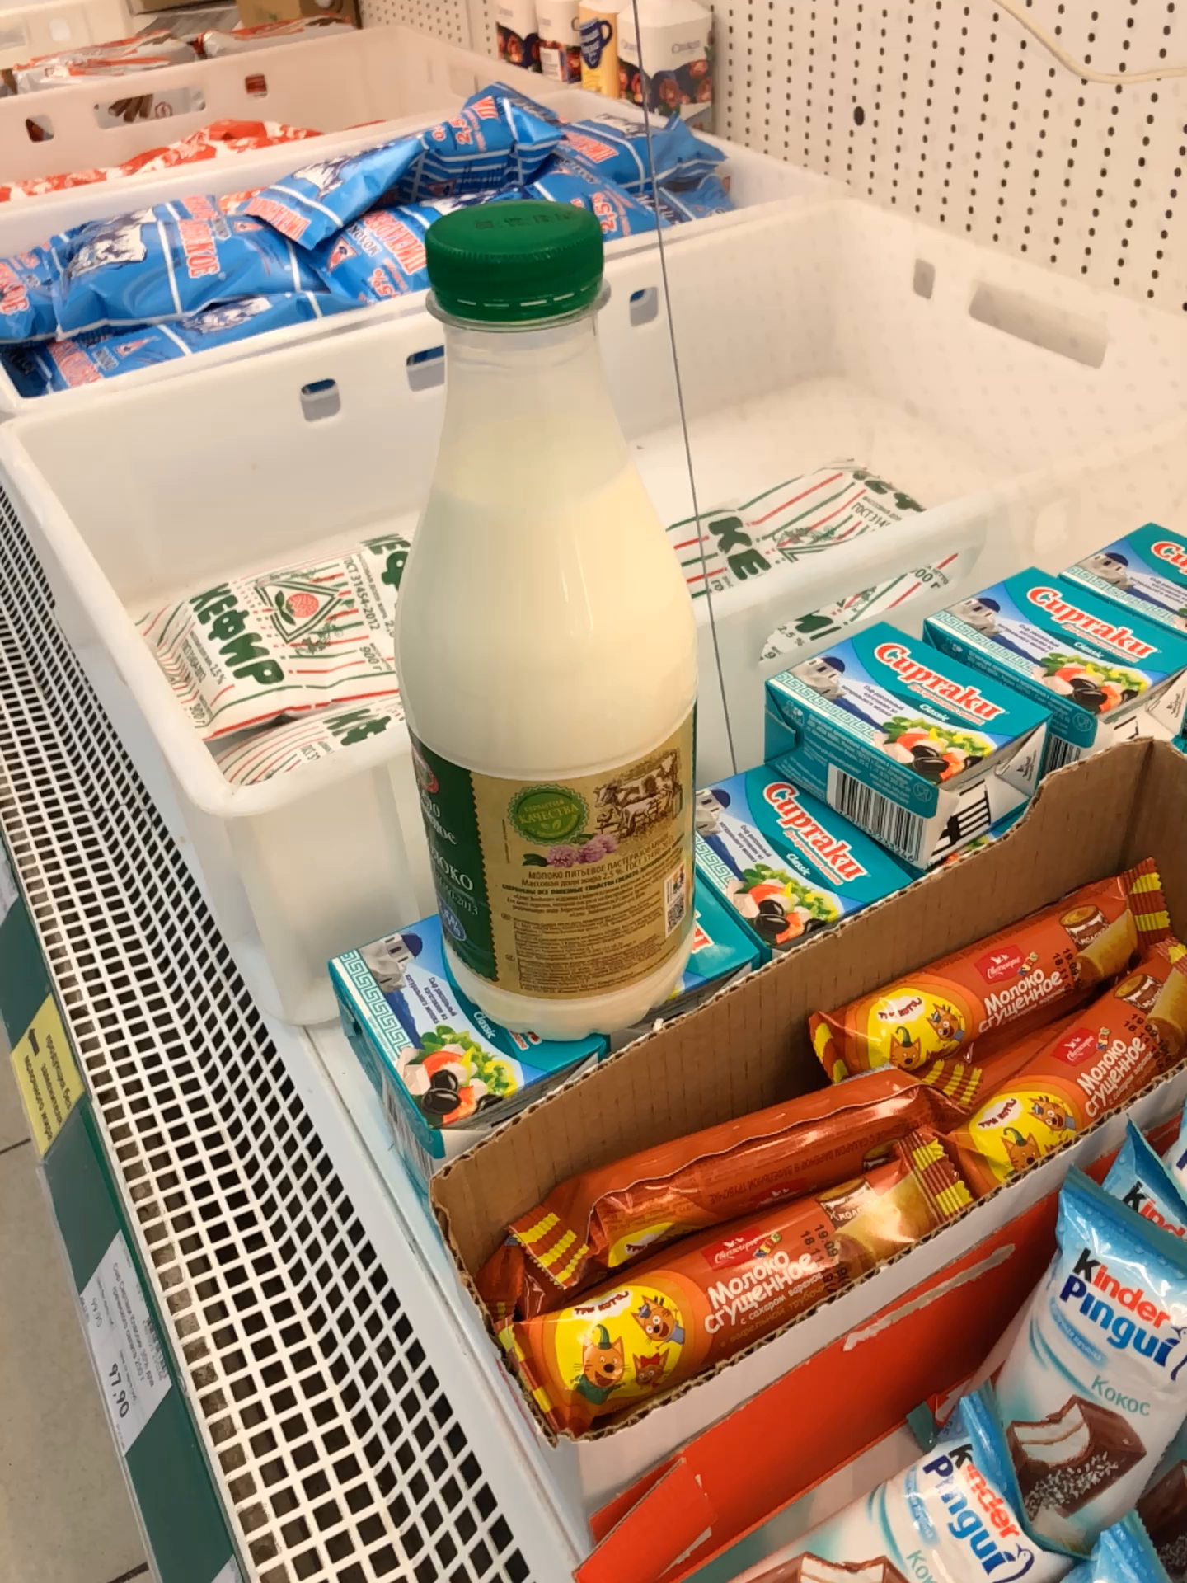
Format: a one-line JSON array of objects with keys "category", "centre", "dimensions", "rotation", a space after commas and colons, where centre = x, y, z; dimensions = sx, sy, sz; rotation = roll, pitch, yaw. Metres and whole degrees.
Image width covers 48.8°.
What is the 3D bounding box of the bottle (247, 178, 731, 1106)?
[{"category": "bottle", "centre": [-0.019, -0.030, 0.371], "dimensions": [0.085, 0.238, 0.081], "rotation": [-3, 40, 2]}]
